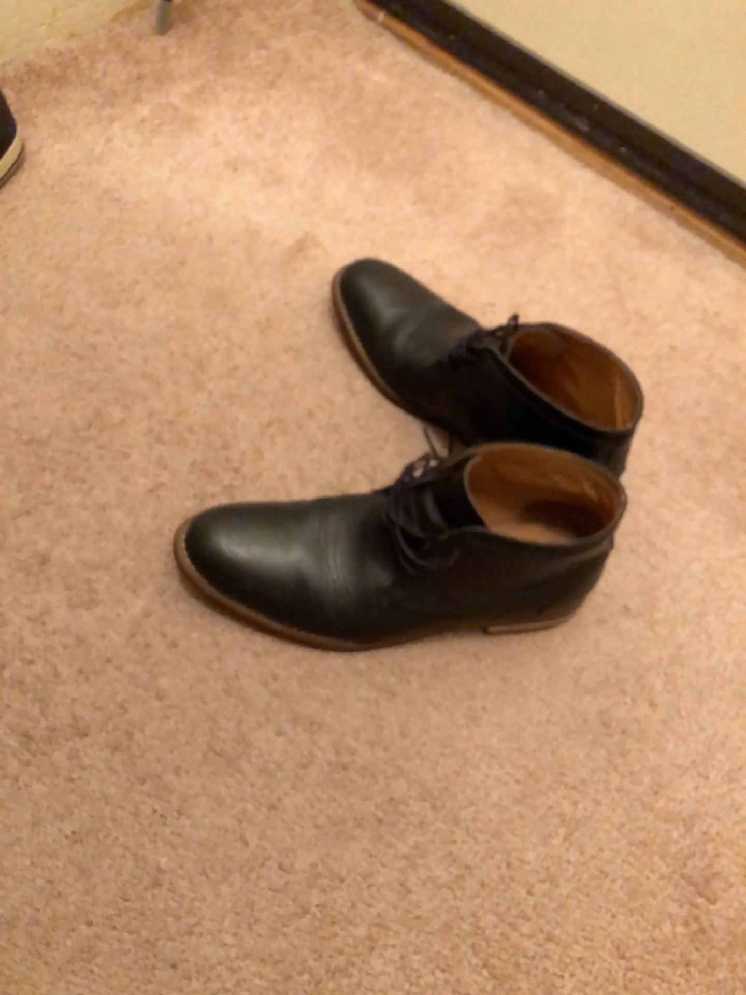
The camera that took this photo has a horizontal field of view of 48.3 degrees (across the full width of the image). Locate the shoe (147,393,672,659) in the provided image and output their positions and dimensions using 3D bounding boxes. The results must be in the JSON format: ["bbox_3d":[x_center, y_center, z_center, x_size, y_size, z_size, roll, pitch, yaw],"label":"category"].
[{"bbox_3d":[0.013,0.022,0.551,0.302,0.135,0.117,0,60,-11],"label":"shoe"}]

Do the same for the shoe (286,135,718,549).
[{"bbox_3d":[0.085,-0.124,0.656,0.302,0.135,0.117,41,60,13],"label":"shoe"}]
